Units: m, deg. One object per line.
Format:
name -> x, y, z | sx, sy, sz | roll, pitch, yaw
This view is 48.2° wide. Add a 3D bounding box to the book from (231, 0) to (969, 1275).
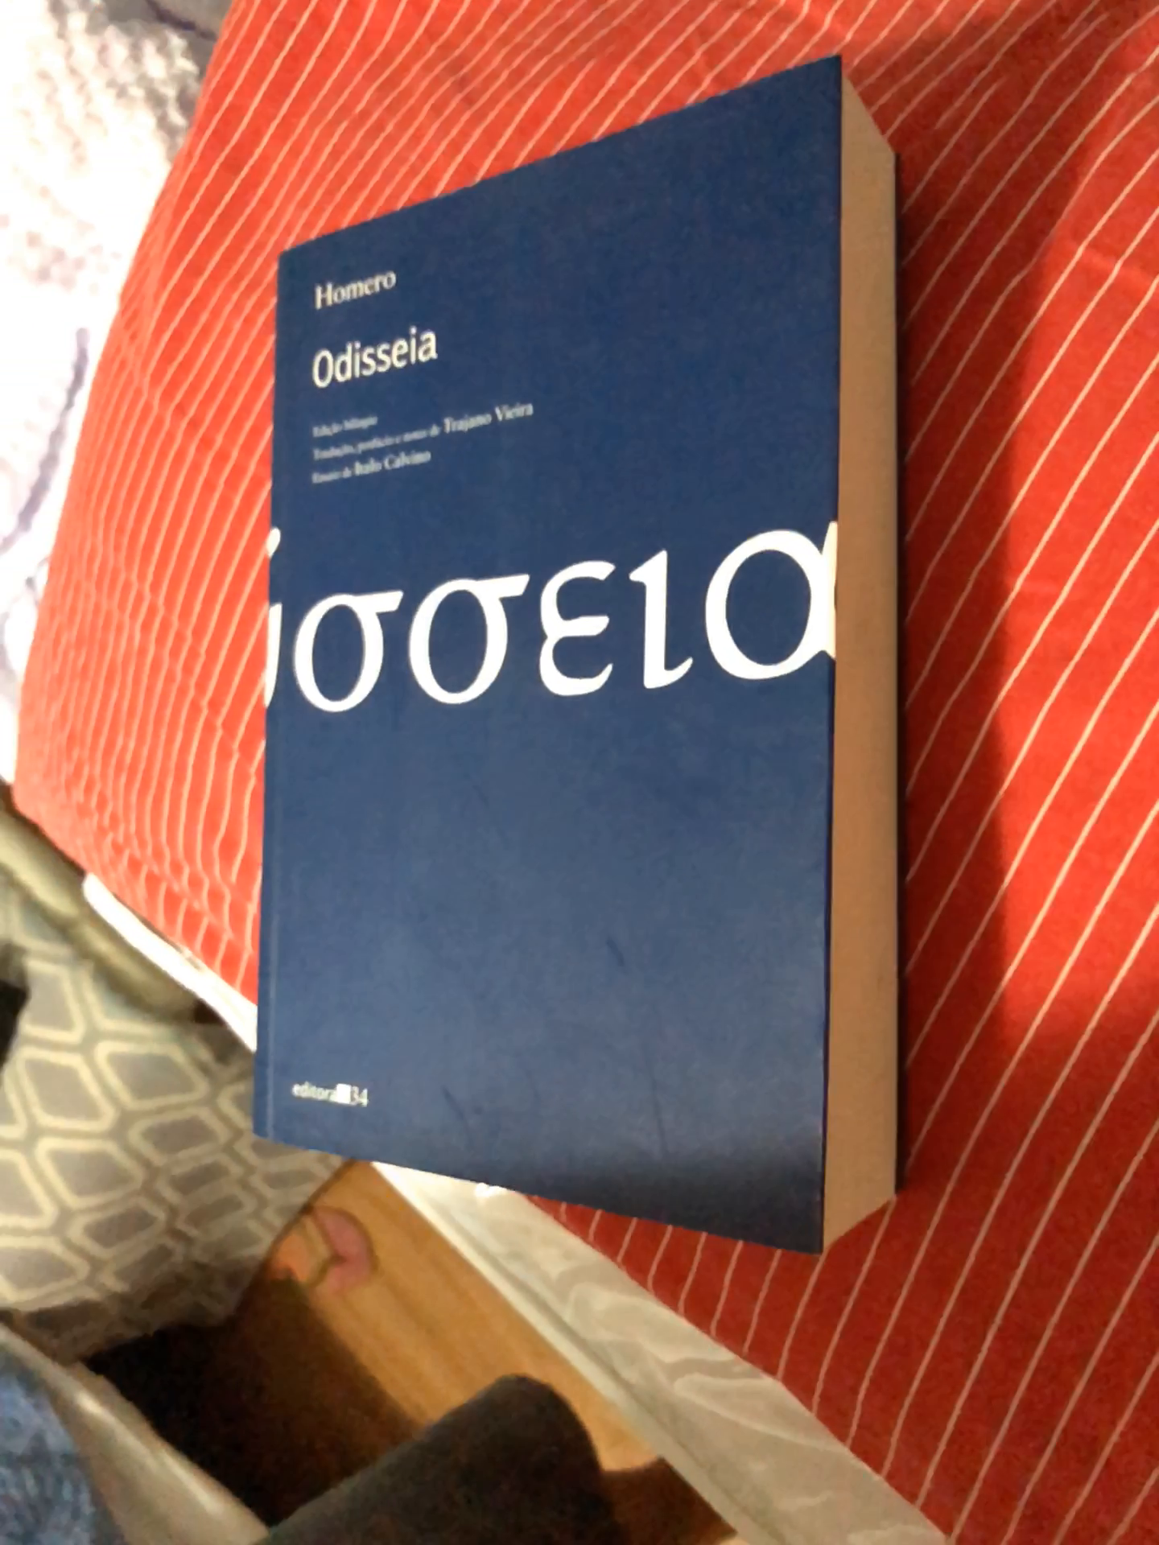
book -> -0.002, -0.026, 0.296 | 0.170, 0.040, 0.230 | -2, 84, 36
